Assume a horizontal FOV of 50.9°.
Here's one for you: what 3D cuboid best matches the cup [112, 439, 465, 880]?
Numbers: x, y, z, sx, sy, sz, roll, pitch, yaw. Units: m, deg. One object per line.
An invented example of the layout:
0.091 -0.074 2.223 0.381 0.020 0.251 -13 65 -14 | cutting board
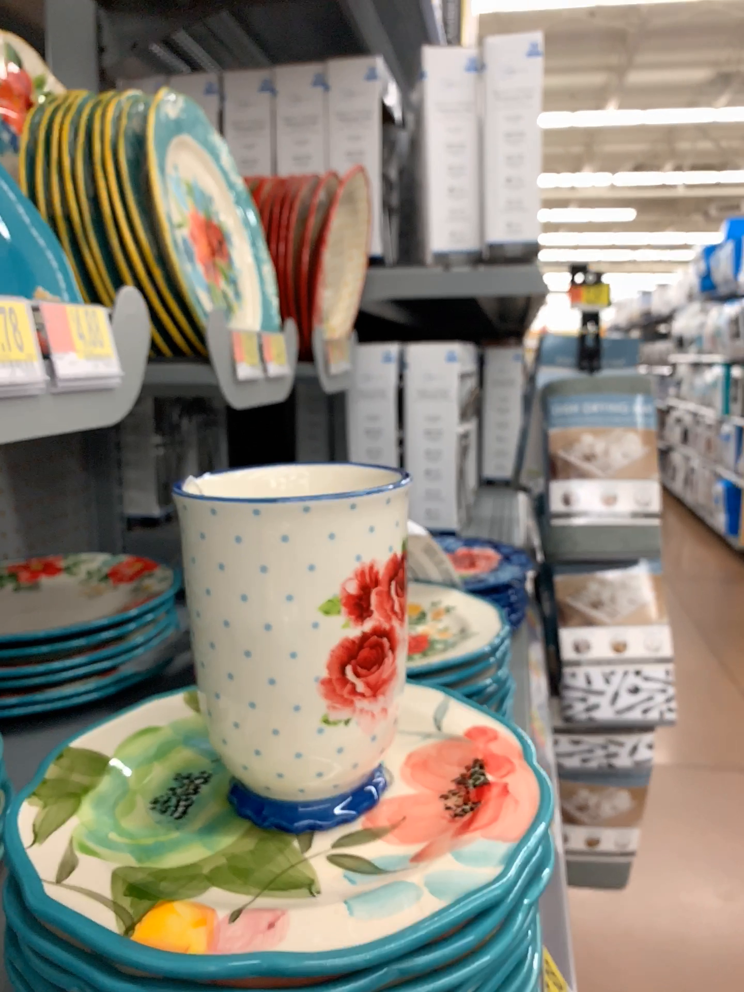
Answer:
-0.023 0.049 0.323 0.090 0.130 0.130 3 10 21 | cup
